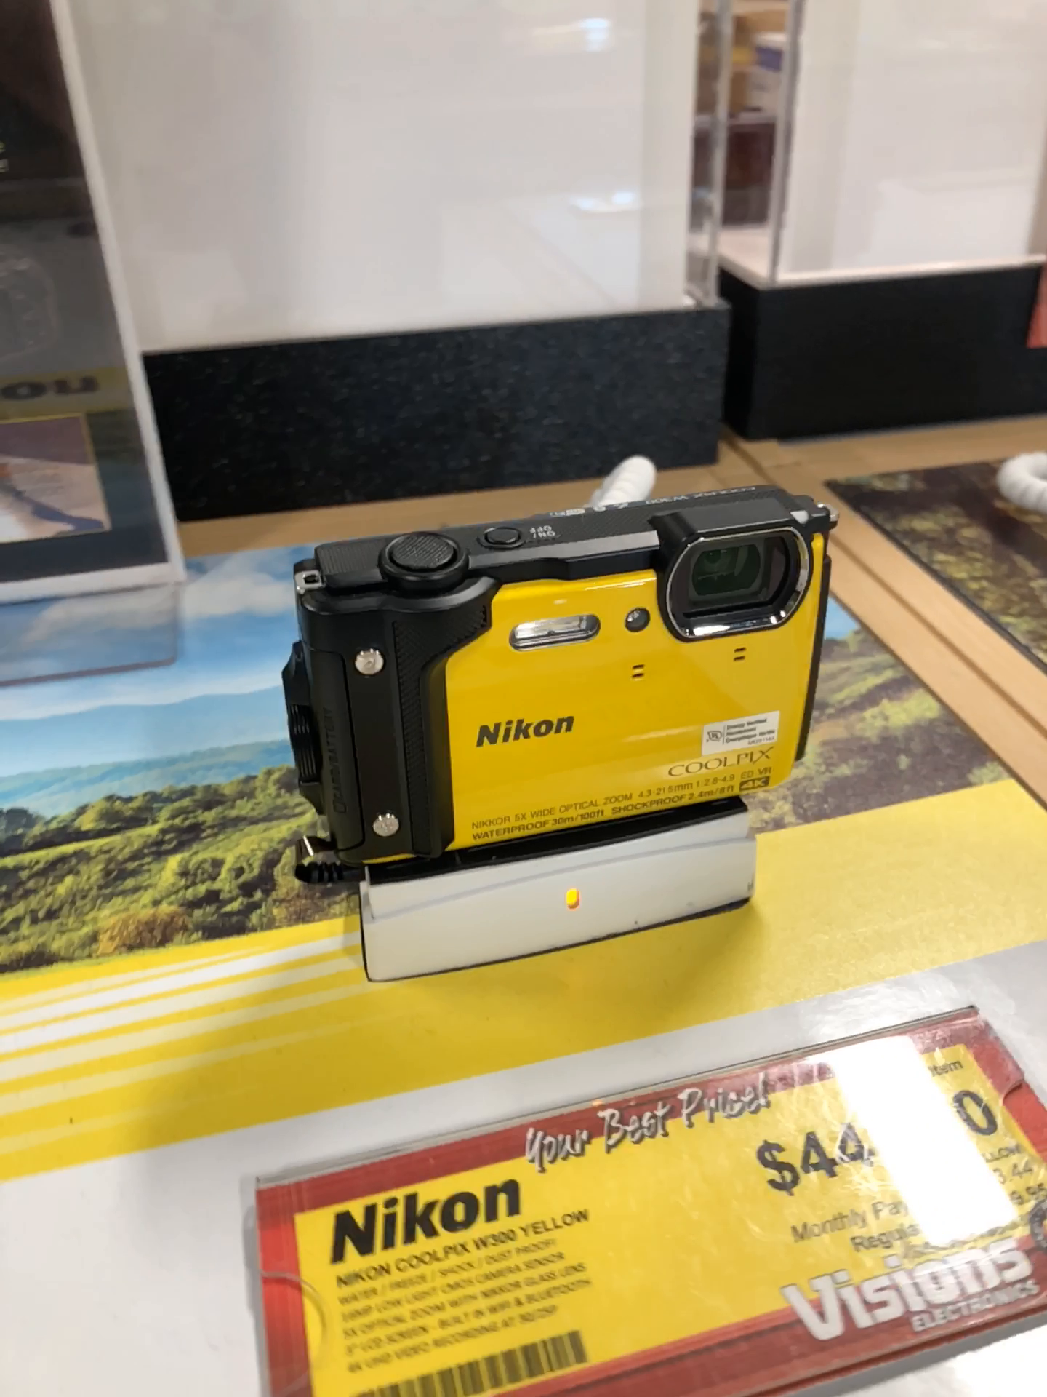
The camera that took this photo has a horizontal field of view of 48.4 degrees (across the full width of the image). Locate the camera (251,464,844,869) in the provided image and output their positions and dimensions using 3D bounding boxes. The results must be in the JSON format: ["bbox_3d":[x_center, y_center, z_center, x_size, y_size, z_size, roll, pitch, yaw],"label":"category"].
[{"bbox_3d":[0.005,-0.008,0.240,0.110,0.060,0.030,-10,34,-12],"label":"camera"}]
